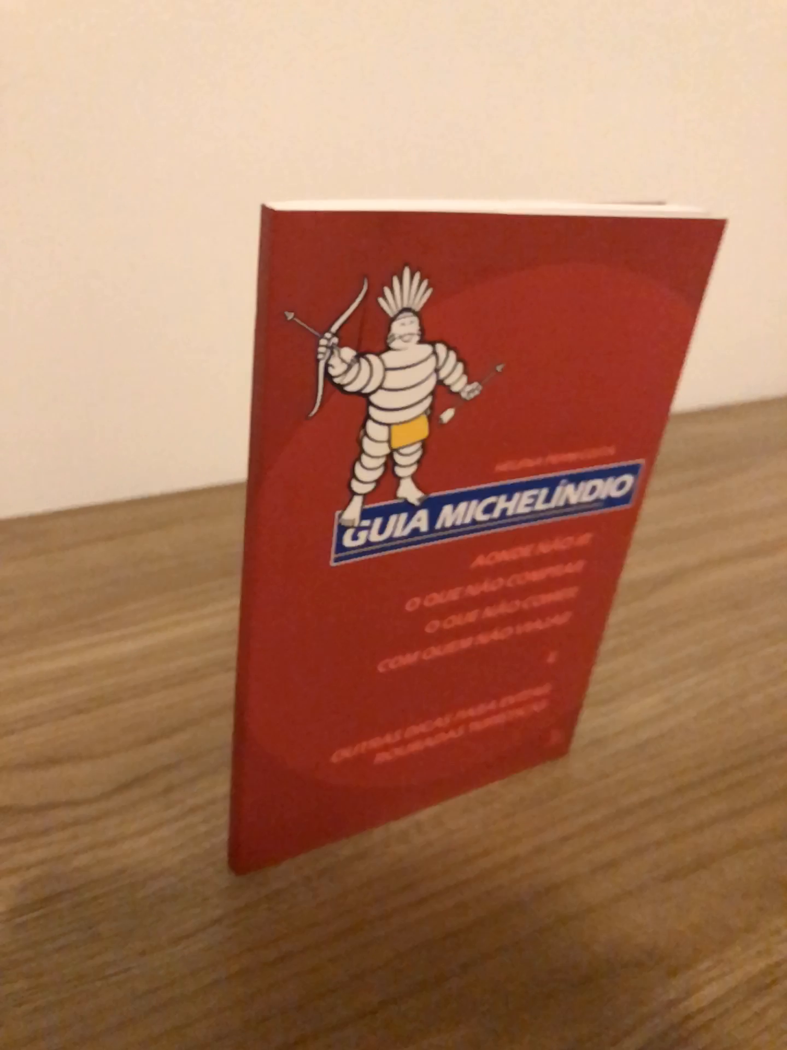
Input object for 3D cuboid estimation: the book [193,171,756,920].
[{"bbox_3d":[0.017,0.012,0.267,0.150,0.218,0.020,-11,36,-30],"label":"book"}]
